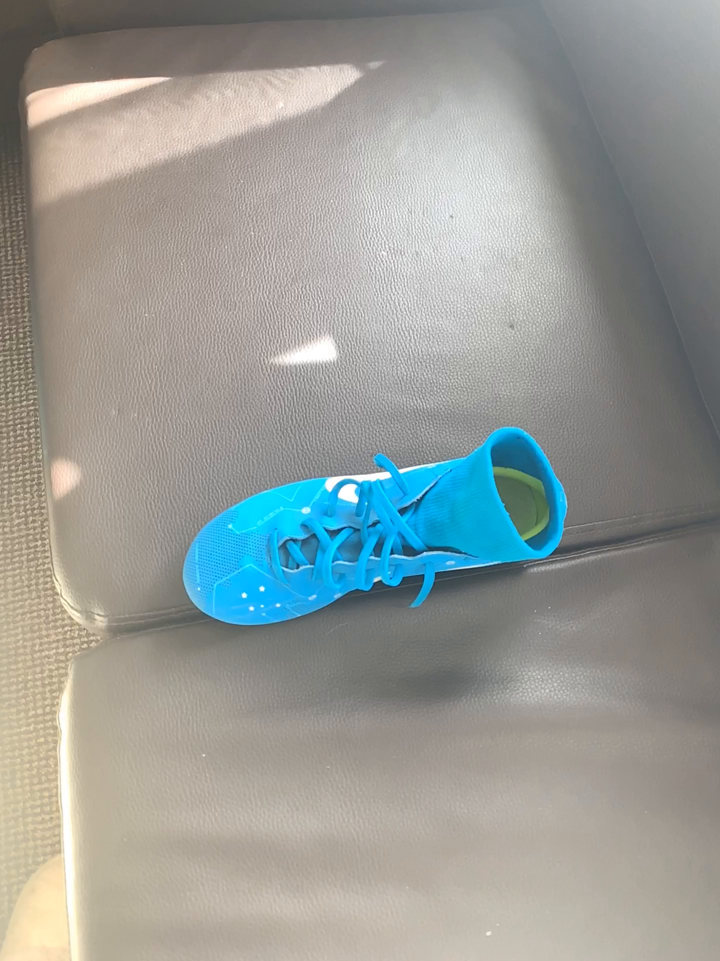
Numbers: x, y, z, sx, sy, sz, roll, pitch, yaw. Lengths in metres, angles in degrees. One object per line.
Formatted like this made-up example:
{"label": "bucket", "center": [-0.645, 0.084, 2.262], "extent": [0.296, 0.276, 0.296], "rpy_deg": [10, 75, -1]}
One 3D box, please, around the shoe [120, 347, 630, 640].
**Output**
{"label": "shoe", "center": [0.005, 0.014, 0.438], "extent": [0.250, 0.120, 0.099], "rpy_deg": [-11, 72, -4]}
